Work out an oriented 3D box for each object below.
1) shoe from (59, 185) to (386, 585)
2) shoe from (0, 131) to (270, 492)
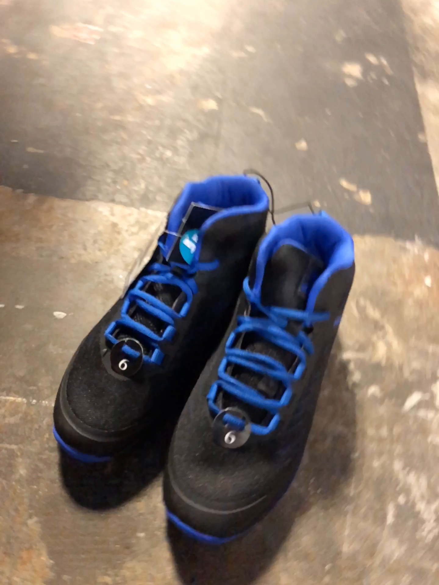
[{"bbox_3d":[0.018,0.056,0.350,0.110,0.119,0.231,22,58,16],"label":"shoe"},{"bbox_3d":[-0.067,0.006,0.361,0.100,0.119,0.221,28,59,20],"label":"shoe"}]
